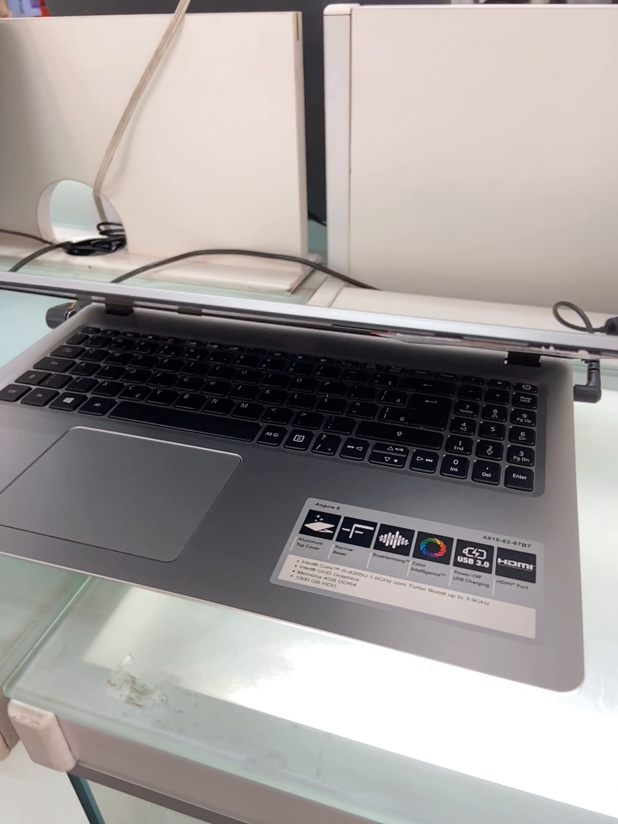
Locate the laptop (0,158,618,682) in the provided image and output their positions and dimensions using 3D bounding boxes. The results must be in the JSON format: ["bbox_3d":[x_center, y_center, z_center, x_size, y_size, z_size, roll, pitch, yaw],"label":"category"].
[{"bbox_3d":[-0.044,-0.042,0.342,0.364,0.116,0.246,8,34,15],"label":"laptop"}]
